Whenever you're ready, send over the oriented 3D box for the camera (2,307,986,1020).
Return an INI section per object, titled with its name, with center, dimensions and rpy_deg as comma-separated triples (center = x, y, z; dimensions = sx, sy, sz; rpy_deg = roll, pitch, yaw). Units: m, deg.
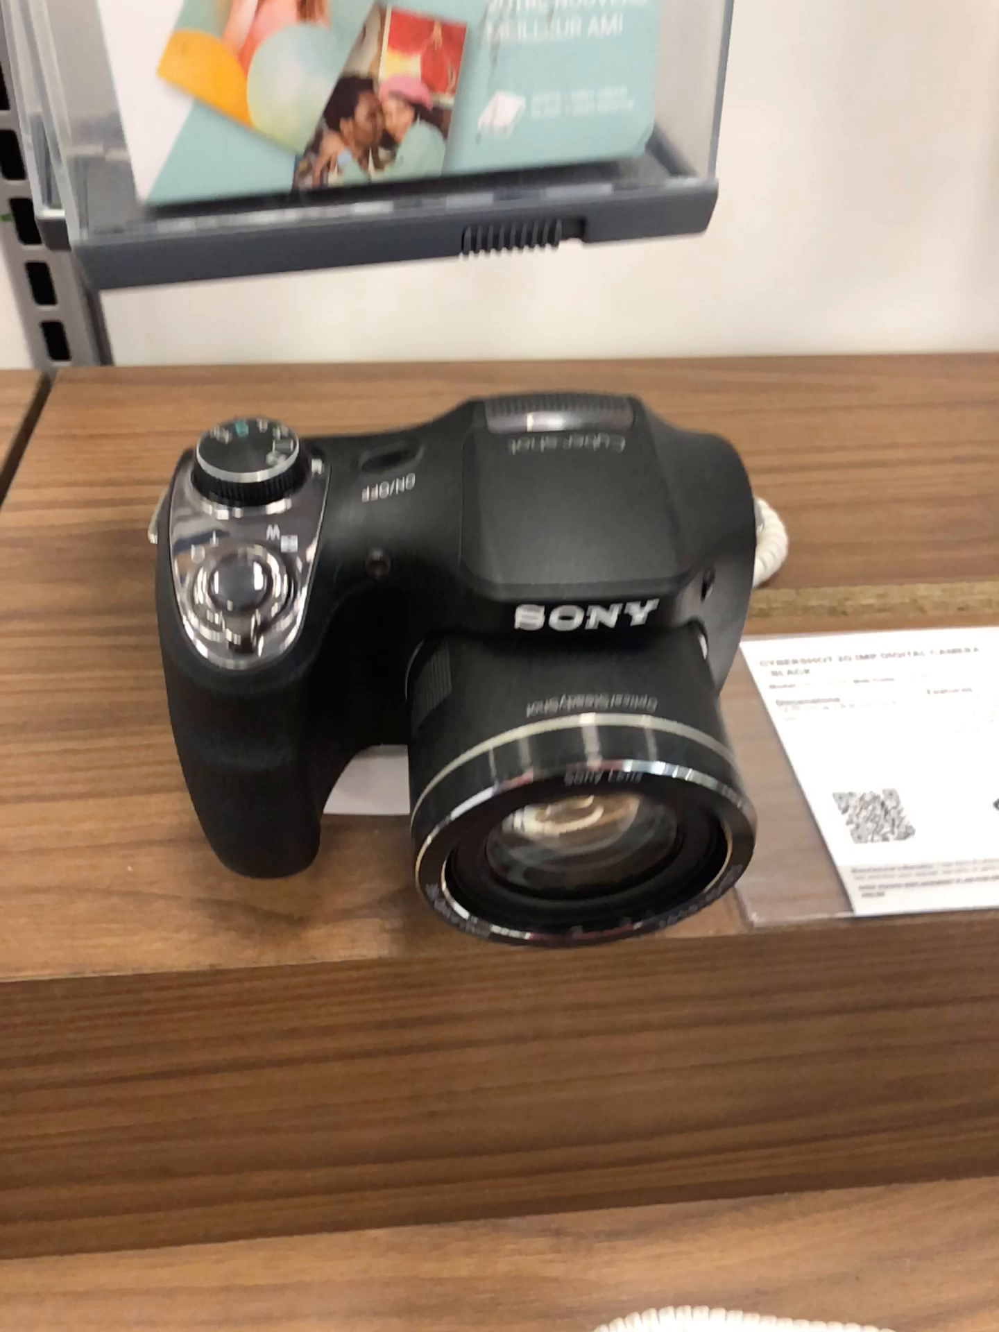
[camera]
center = -0.005, -0.009, 0.230
dimensions = 0.140, 0.080, 0.120
rpy_deg = -3, 40, -5
